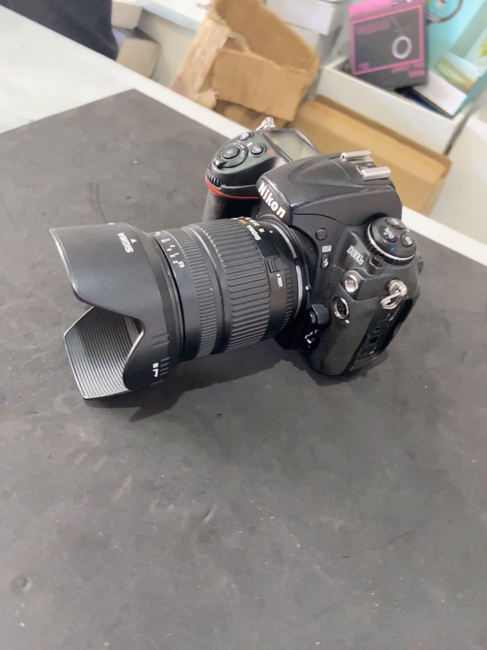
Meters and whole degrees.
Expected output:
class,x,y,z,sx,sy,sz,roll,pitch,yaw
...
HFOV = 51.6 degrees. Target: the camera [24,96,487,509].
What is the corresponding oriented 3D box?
class,x,y,z,sx,sy,sz,roll,pitch,yaw
camera,-0.003,-0.032,0.276,0.181,0.109,0.171,-12,50,-26
